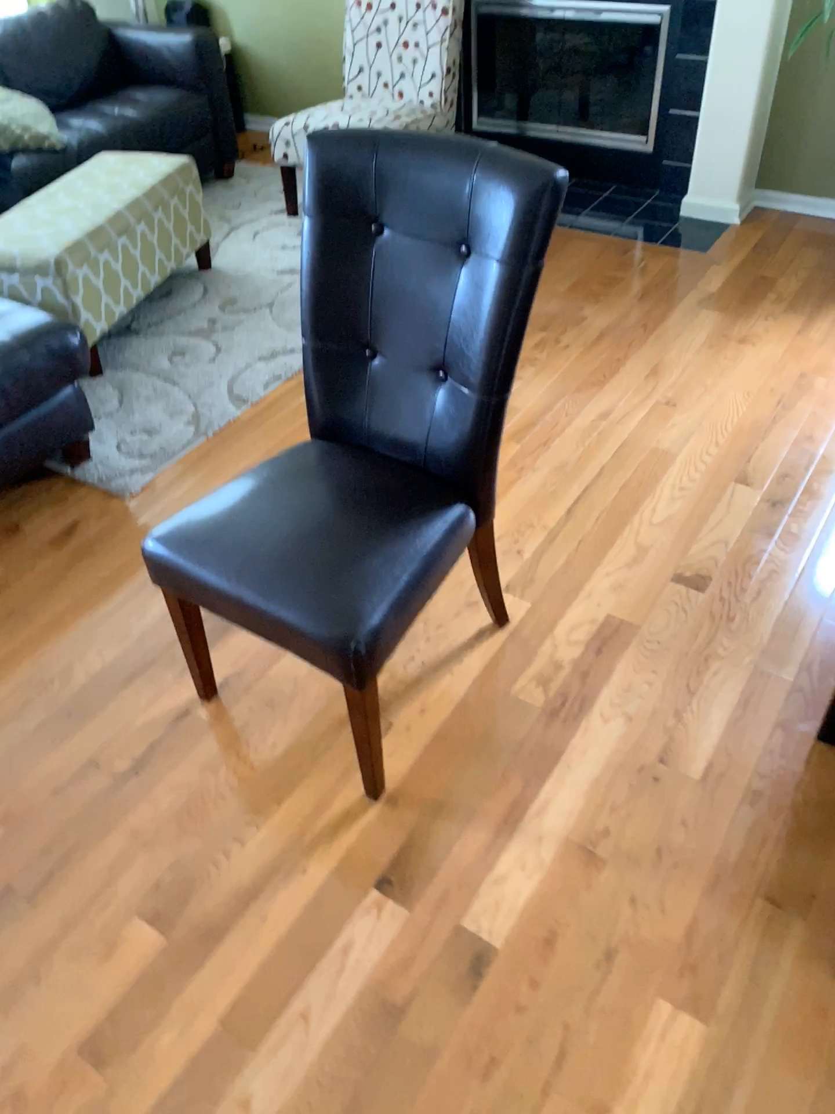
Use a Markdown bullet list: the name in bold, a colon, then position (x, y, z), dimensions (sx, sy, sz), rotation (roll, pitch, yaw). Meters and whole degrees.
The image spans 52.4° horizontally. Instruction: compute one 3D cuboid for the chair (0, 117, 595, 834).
- **chair**: position (-0.115, -0.154, 1.573), dimensions (0.538, 0.976, 0.726), rotation (23, 49, 27)
